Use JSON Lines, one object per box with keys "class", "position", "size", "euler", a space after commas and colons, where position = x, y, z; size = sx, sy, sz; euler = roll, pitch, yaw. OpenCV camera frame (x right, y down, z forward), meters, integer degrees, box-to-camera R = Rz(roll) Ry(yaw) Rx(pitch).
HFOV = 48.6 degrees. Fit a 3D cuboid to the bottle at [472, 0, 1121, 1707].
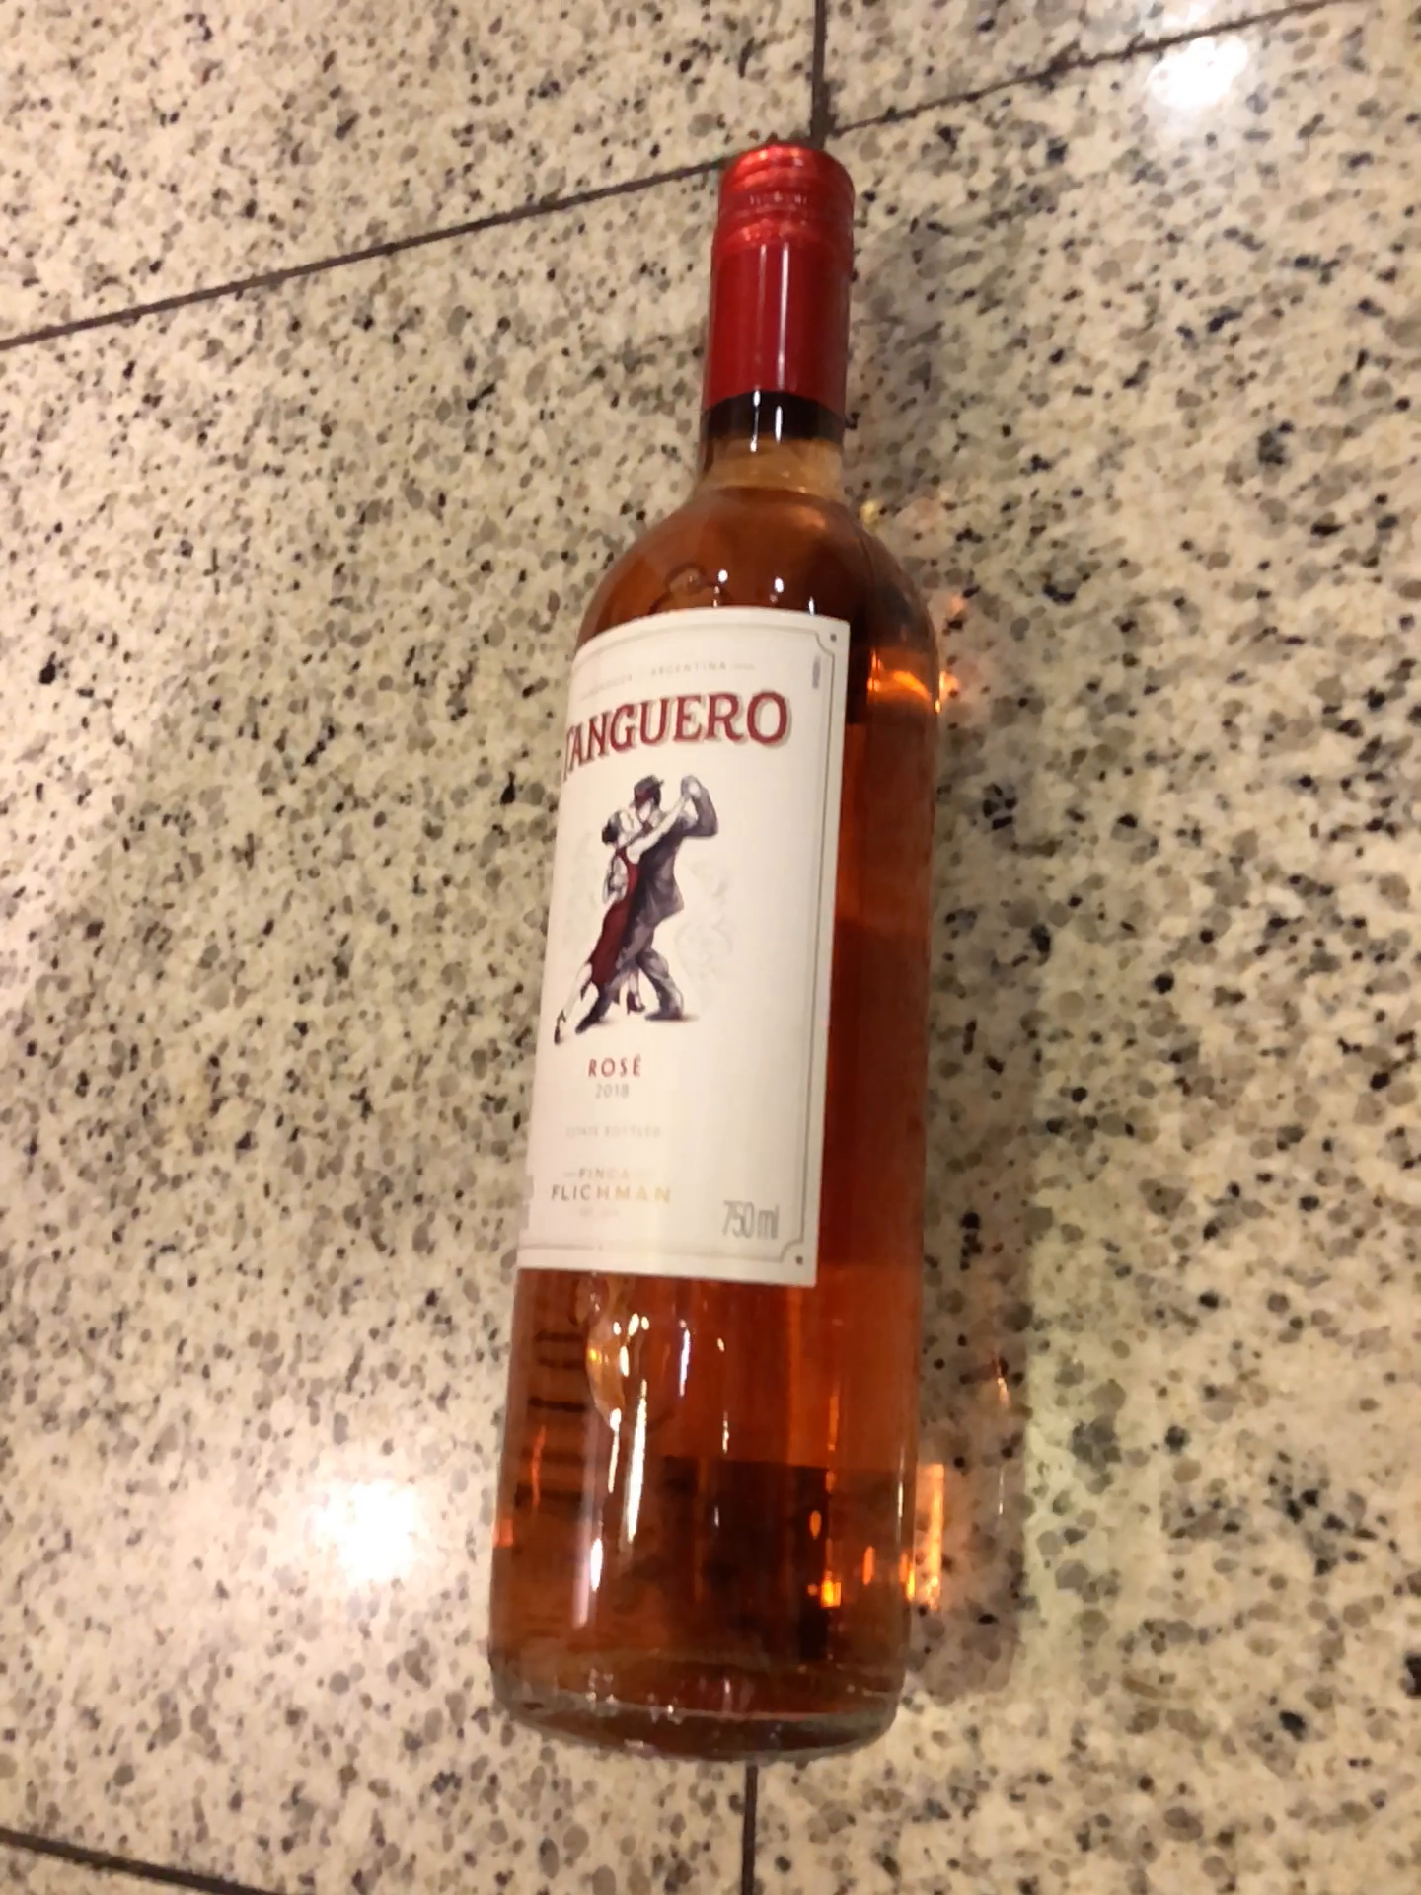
{"class": "bottle", "position": [0.026, -0.043, 0.296], "size": [0.090, 0.060, 0.320], "euler": [-2, 75, 23]}
